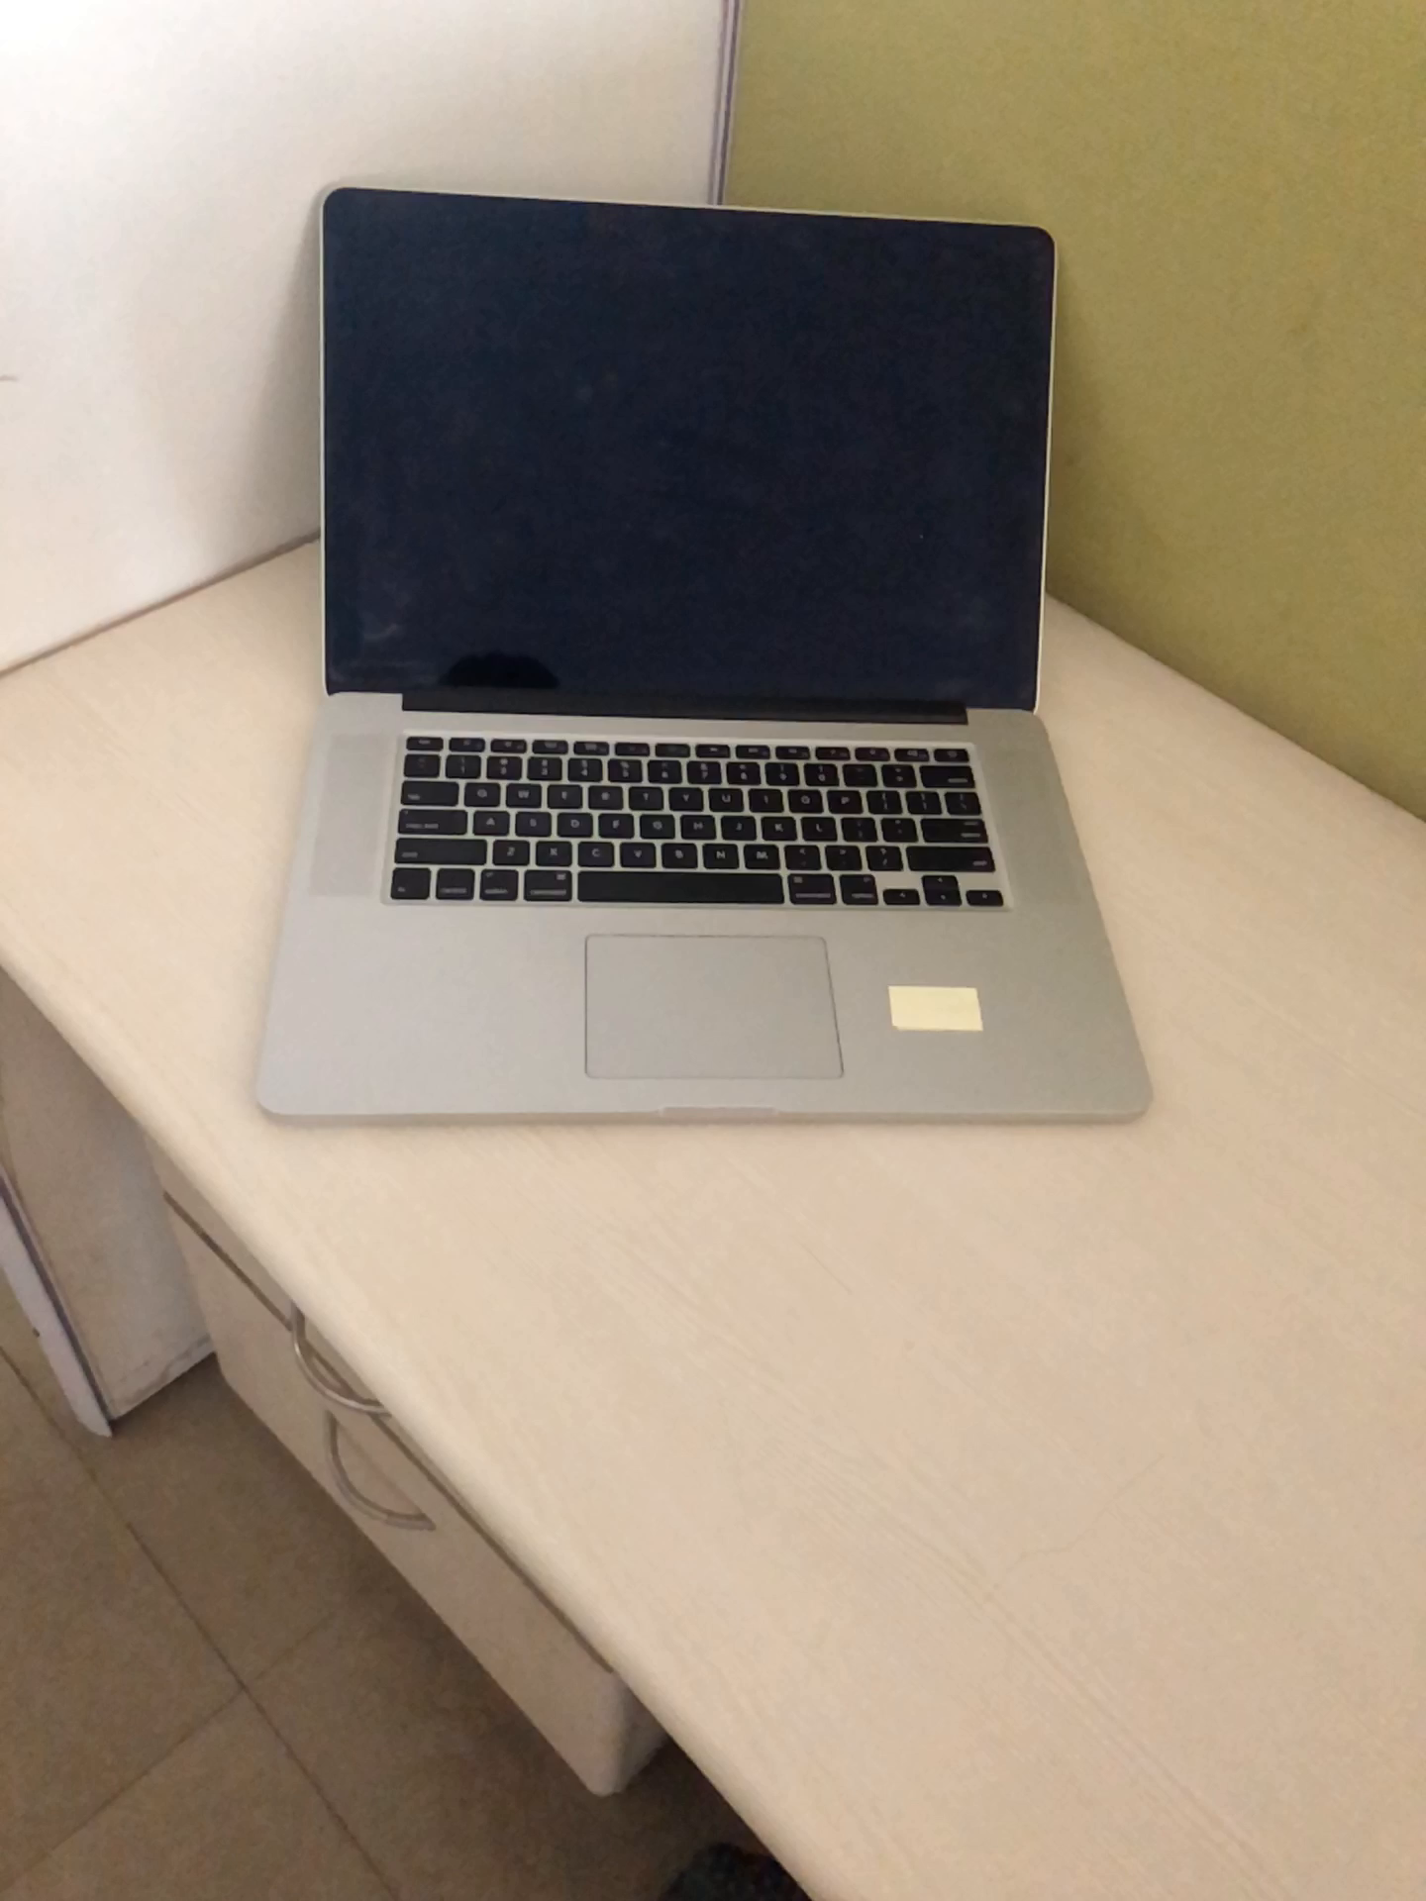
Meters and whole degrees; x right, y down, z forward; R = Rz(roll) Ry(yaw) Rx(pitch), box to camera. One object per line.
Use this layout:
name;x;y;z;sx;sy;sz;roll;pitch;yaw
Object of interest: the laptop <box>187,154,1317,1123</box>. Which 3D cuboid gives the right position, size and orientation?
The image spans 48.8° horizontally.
laptop;-0.002;-0.147;0.663;0.345;0.163;0.405;1;51;-6
